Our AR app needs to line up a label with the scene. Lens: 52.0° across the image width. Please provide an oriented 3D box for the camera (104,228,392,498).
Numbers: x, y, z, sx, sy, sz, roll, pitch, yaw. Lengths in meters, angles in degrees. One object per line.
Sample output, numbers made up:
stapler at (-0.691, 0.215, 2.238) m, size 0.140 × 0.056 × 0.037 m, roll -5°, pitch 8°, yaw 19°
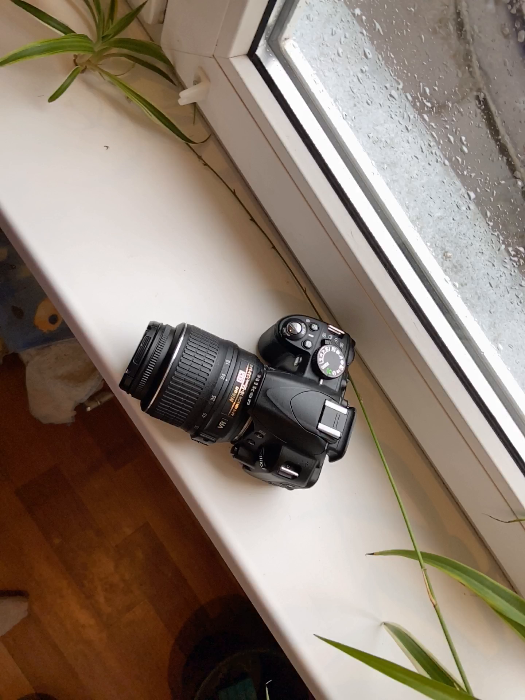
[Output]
camera at (-0.012, 0.017, 0.385) m, size 0.154 × 0.091 × 0.124 m, roll 24°, pitch 72°, yaw -13°
